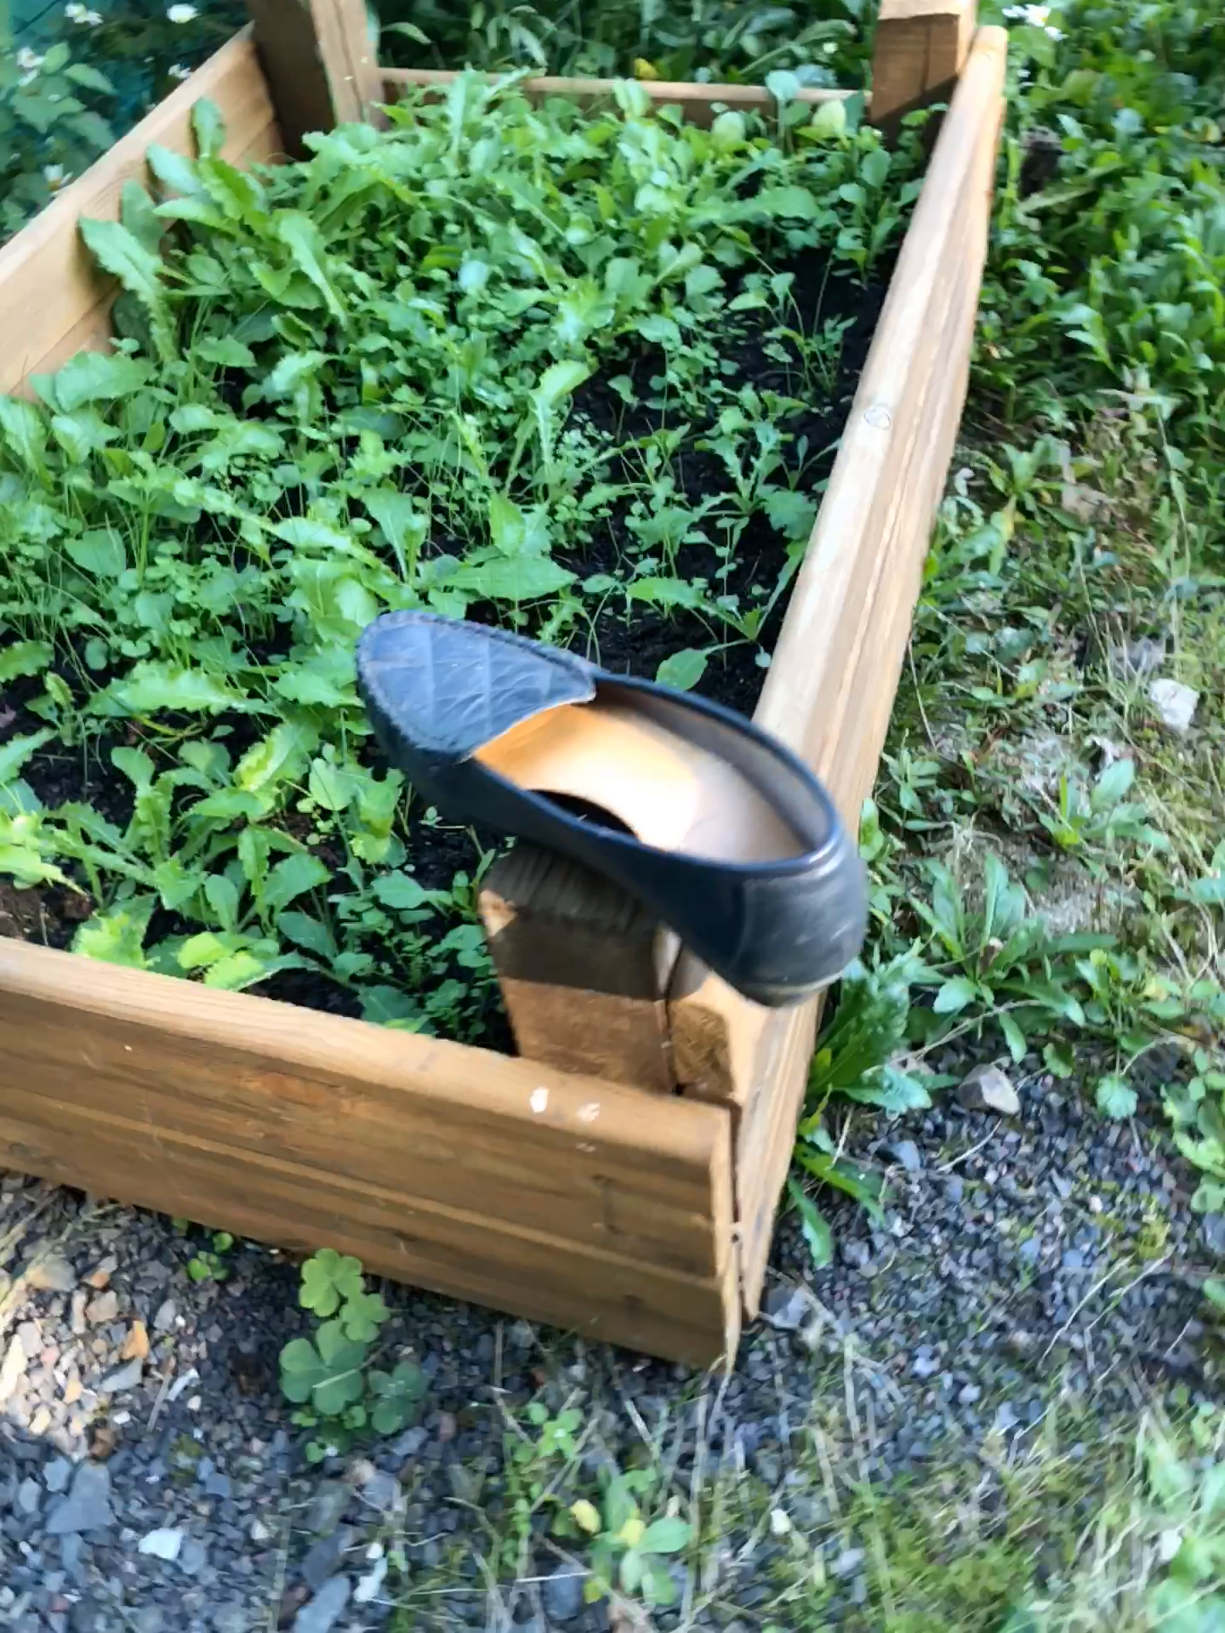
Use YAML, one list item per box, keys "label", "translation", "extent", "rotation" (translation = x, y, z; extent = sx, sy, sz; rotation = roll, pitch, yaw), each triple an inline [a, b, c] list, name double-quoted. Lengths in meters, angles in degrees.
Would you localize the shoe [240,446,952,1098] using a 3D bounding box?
- label: "shoe"
  translation: [-0.014, -0.027, 0.519]
  extent: [0.260, 0.090, 0.100]
  rotation: [37, 62, 25]
